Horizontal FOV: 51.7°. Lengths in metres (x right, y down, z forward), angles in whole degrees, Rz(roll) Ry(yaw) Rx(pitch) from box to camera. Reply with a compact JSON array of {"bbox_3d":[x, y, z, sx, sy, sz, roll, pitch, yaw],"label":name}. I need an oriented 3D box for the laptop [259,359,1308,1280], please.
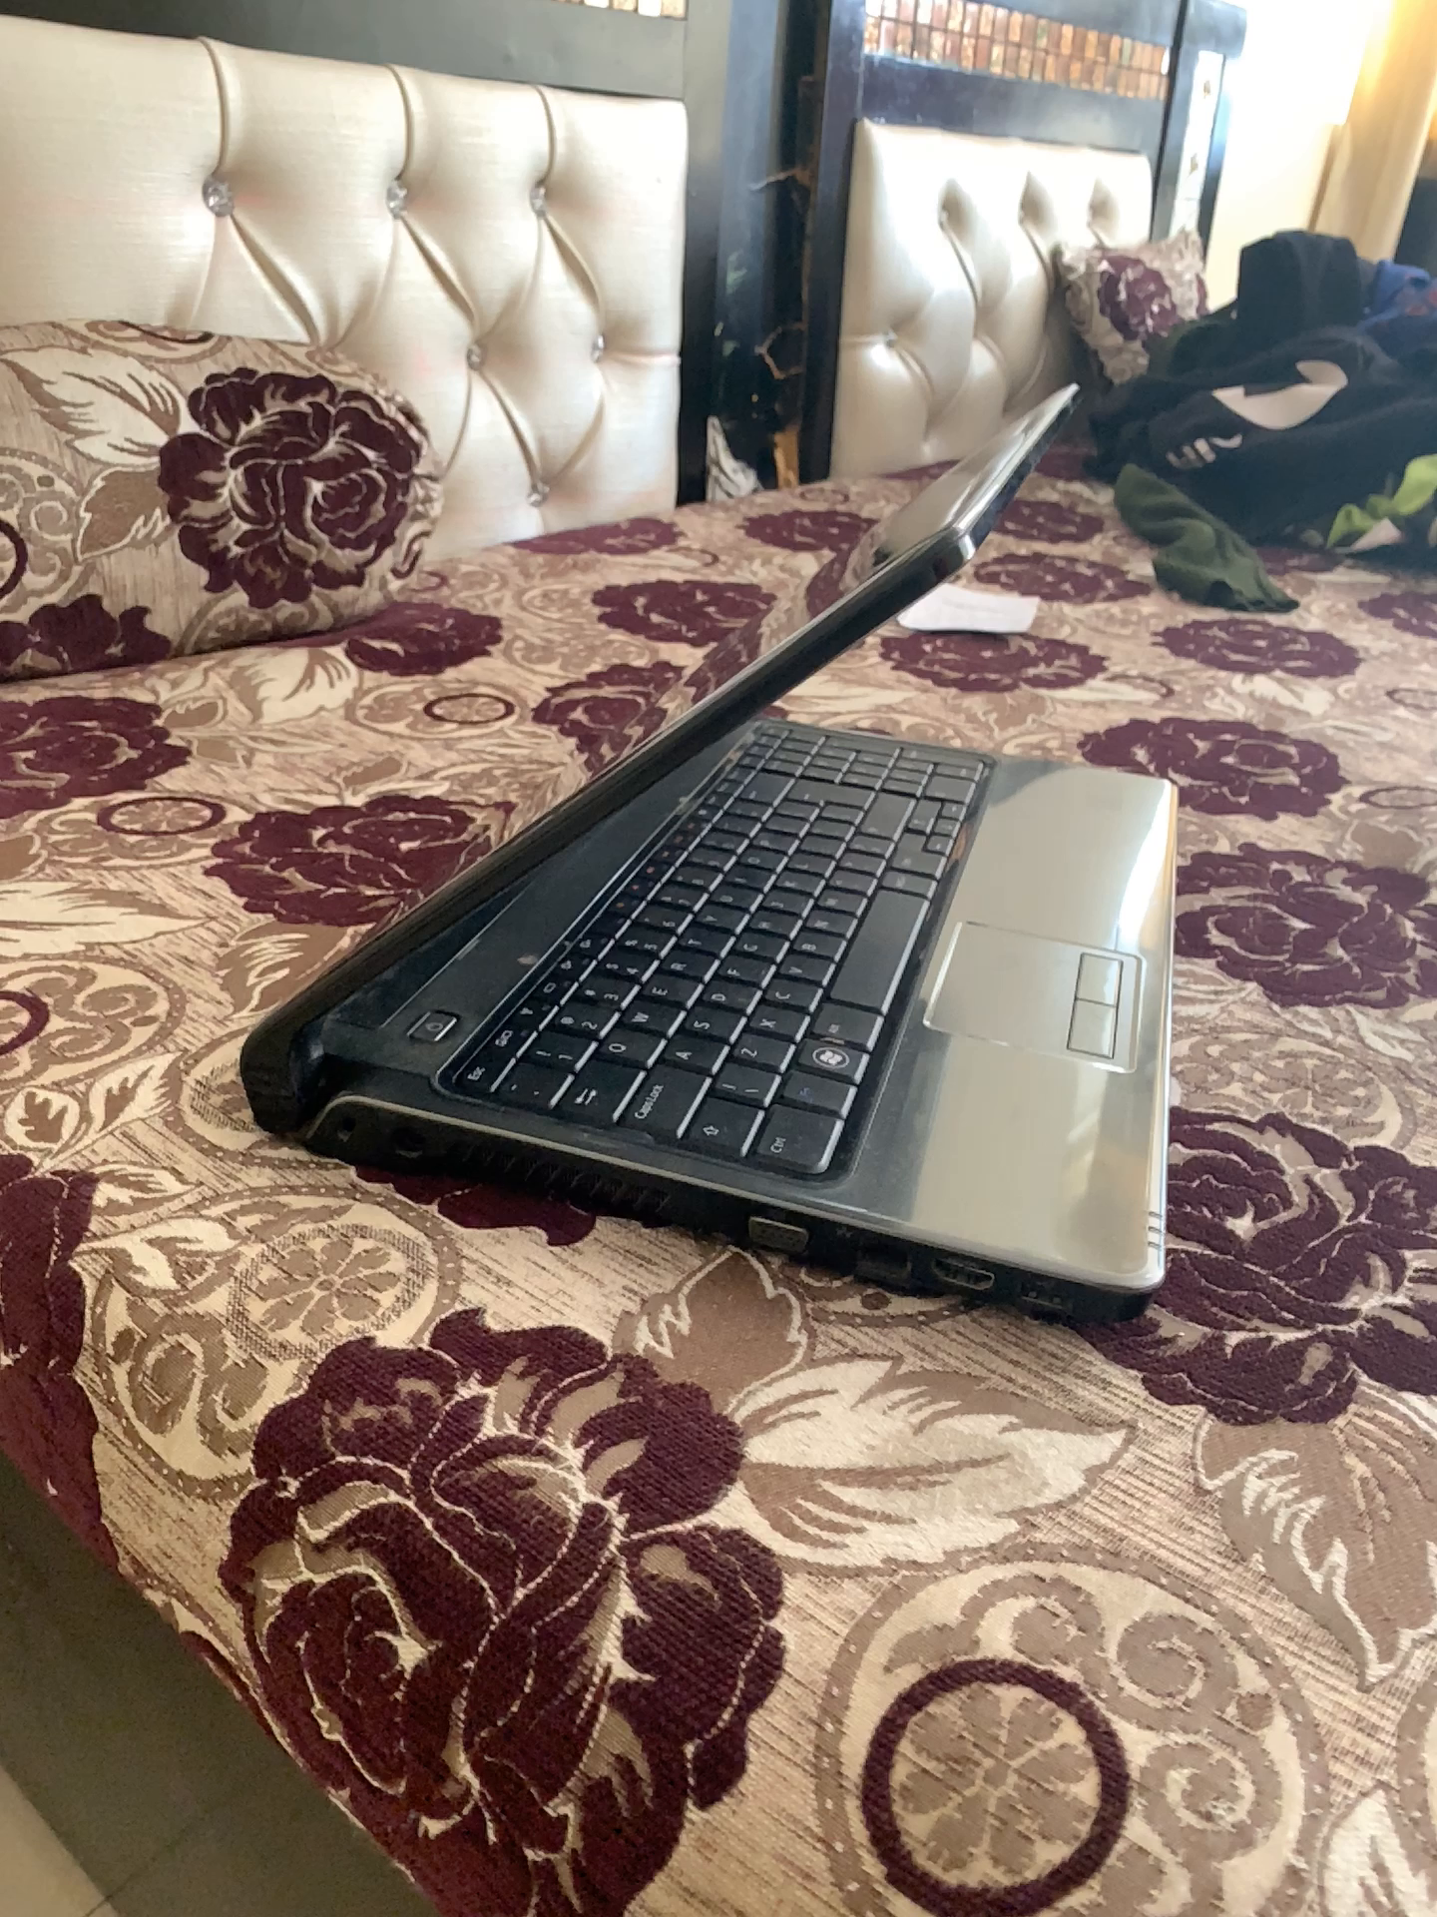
[{"bbox_3d":[0.052,-0.091,0.495,0.220,0.154,0.366,11,28,12],"label":"laptop"}]
